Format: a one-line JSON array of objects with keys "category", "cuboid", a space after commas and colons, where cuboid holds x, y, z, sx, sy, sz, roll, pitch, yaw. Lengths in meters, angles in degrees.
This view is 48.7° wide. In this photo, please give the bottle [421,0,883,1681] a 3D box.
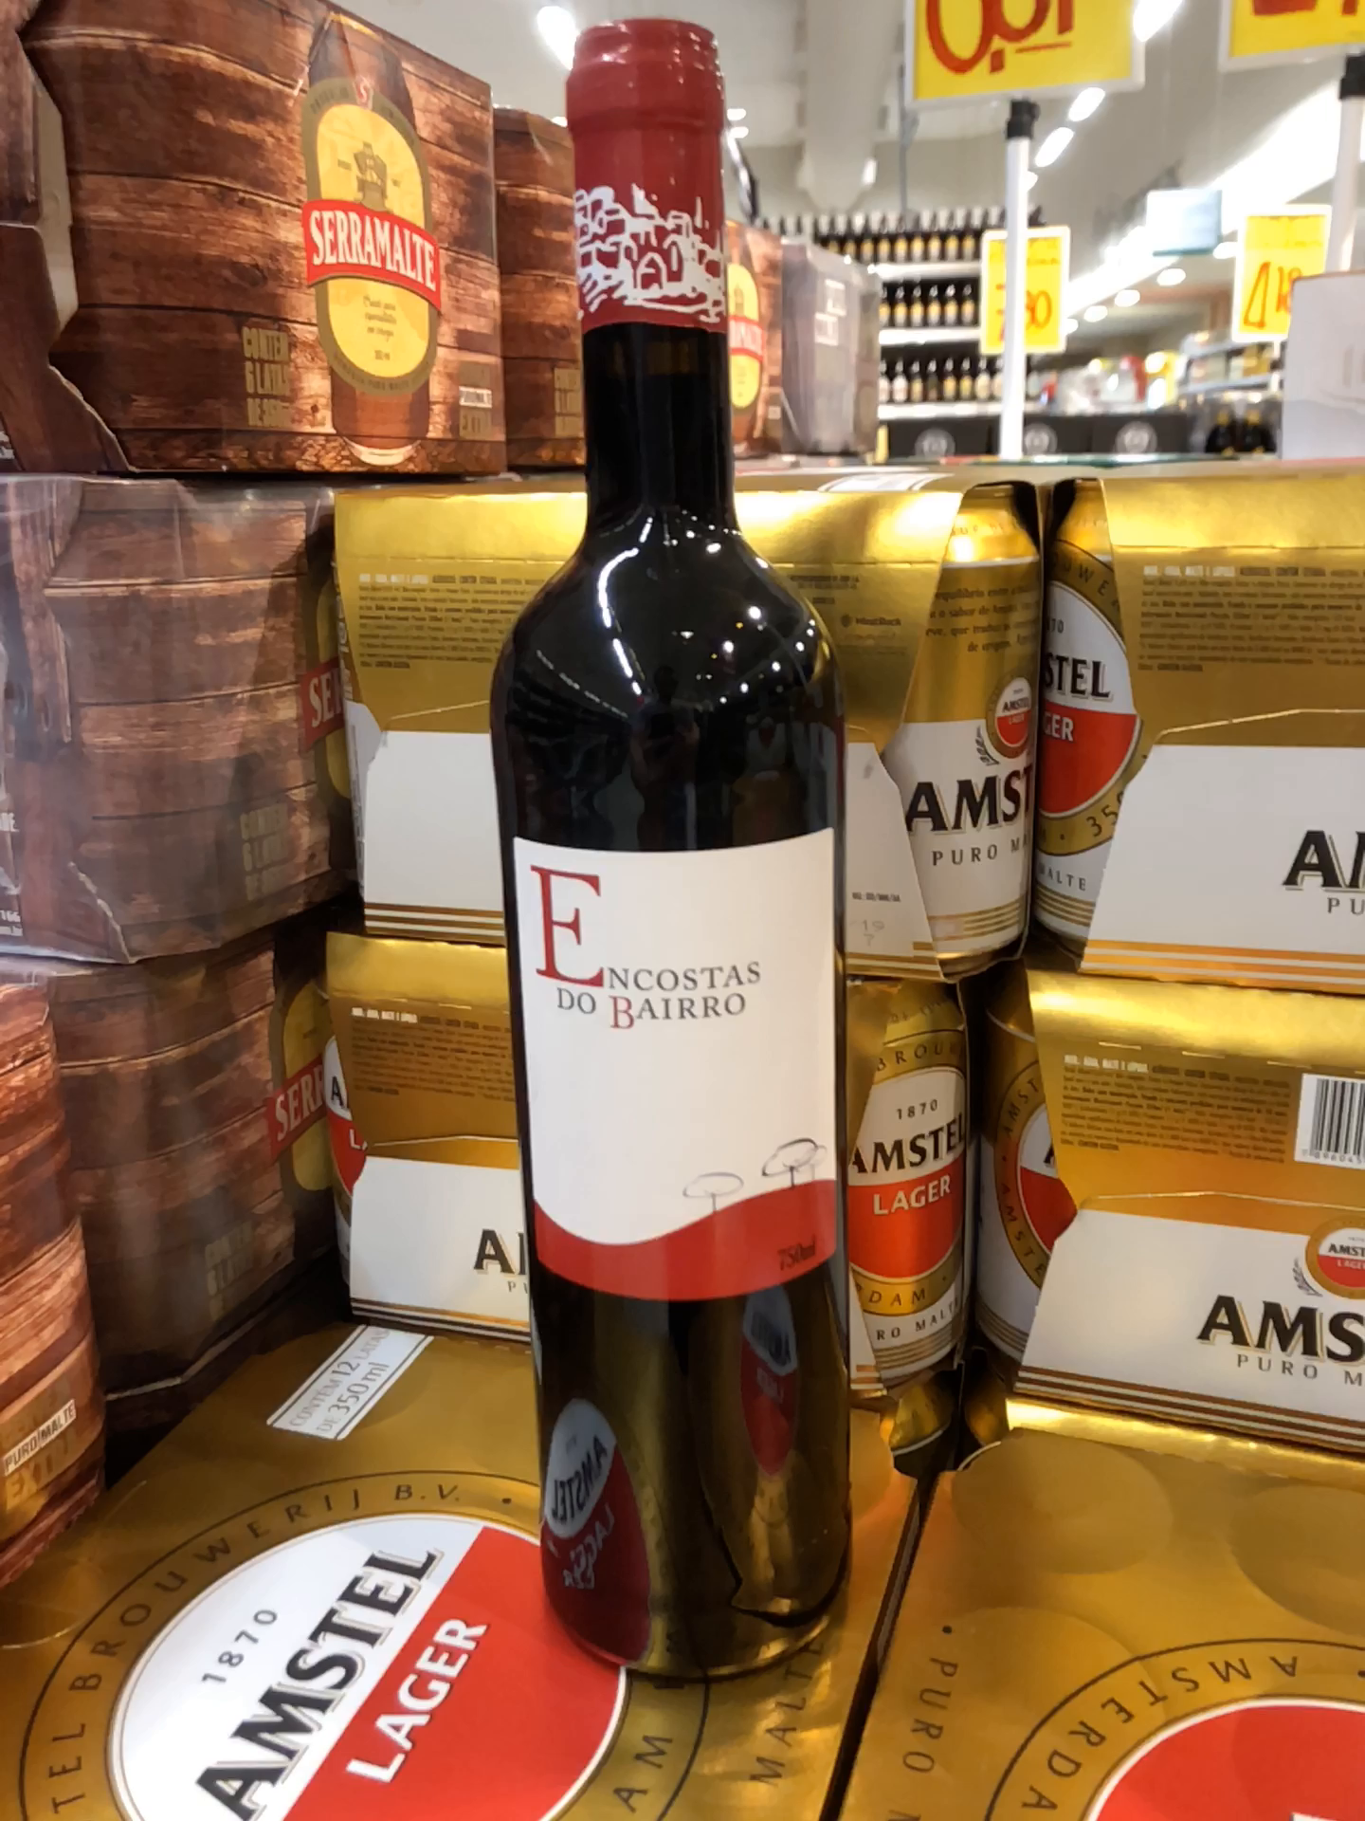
[{"category": "bottle", "cuboid": [0.000, -0.005, 0.304, 0.070, 0.318, 0.070, -1, 16, 0]}]
